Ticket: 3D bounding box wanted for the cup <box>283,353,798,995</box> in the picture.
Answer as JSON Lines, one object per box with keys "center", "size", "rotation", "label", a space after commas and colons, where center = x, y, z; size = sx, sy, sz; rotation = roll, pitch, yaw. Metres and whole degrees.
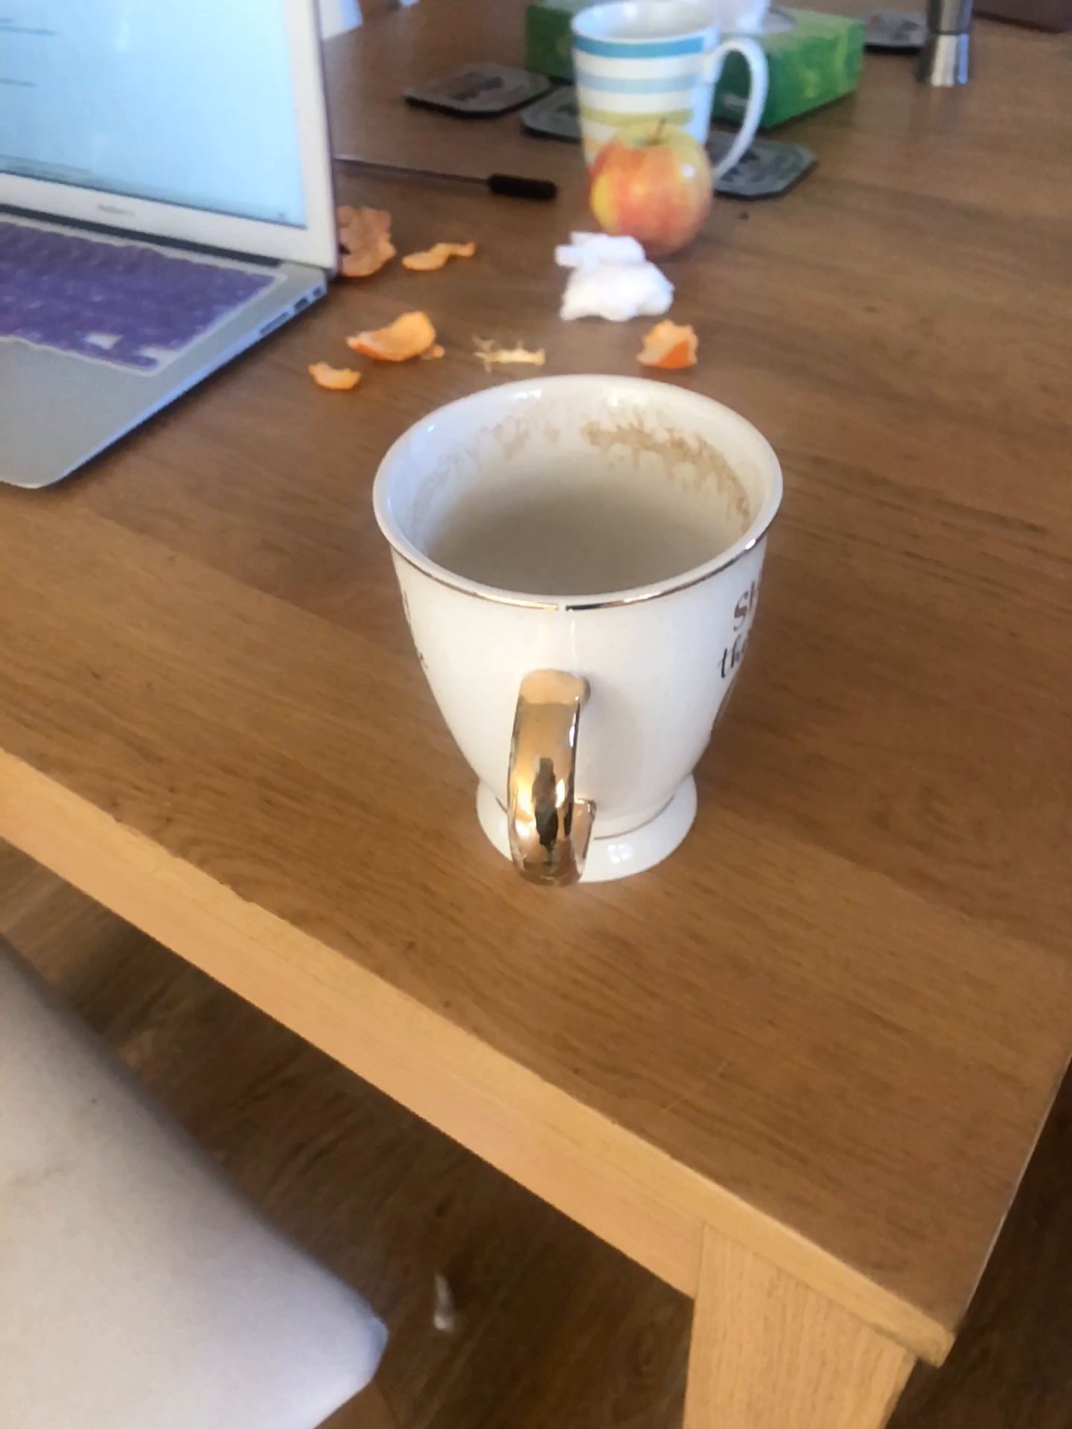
{"center": [0.012, -0.016, 0.335], "size": [0.108, 0.111, 0.135], "rotation": [4, 44, 8], "label": "cup"}
